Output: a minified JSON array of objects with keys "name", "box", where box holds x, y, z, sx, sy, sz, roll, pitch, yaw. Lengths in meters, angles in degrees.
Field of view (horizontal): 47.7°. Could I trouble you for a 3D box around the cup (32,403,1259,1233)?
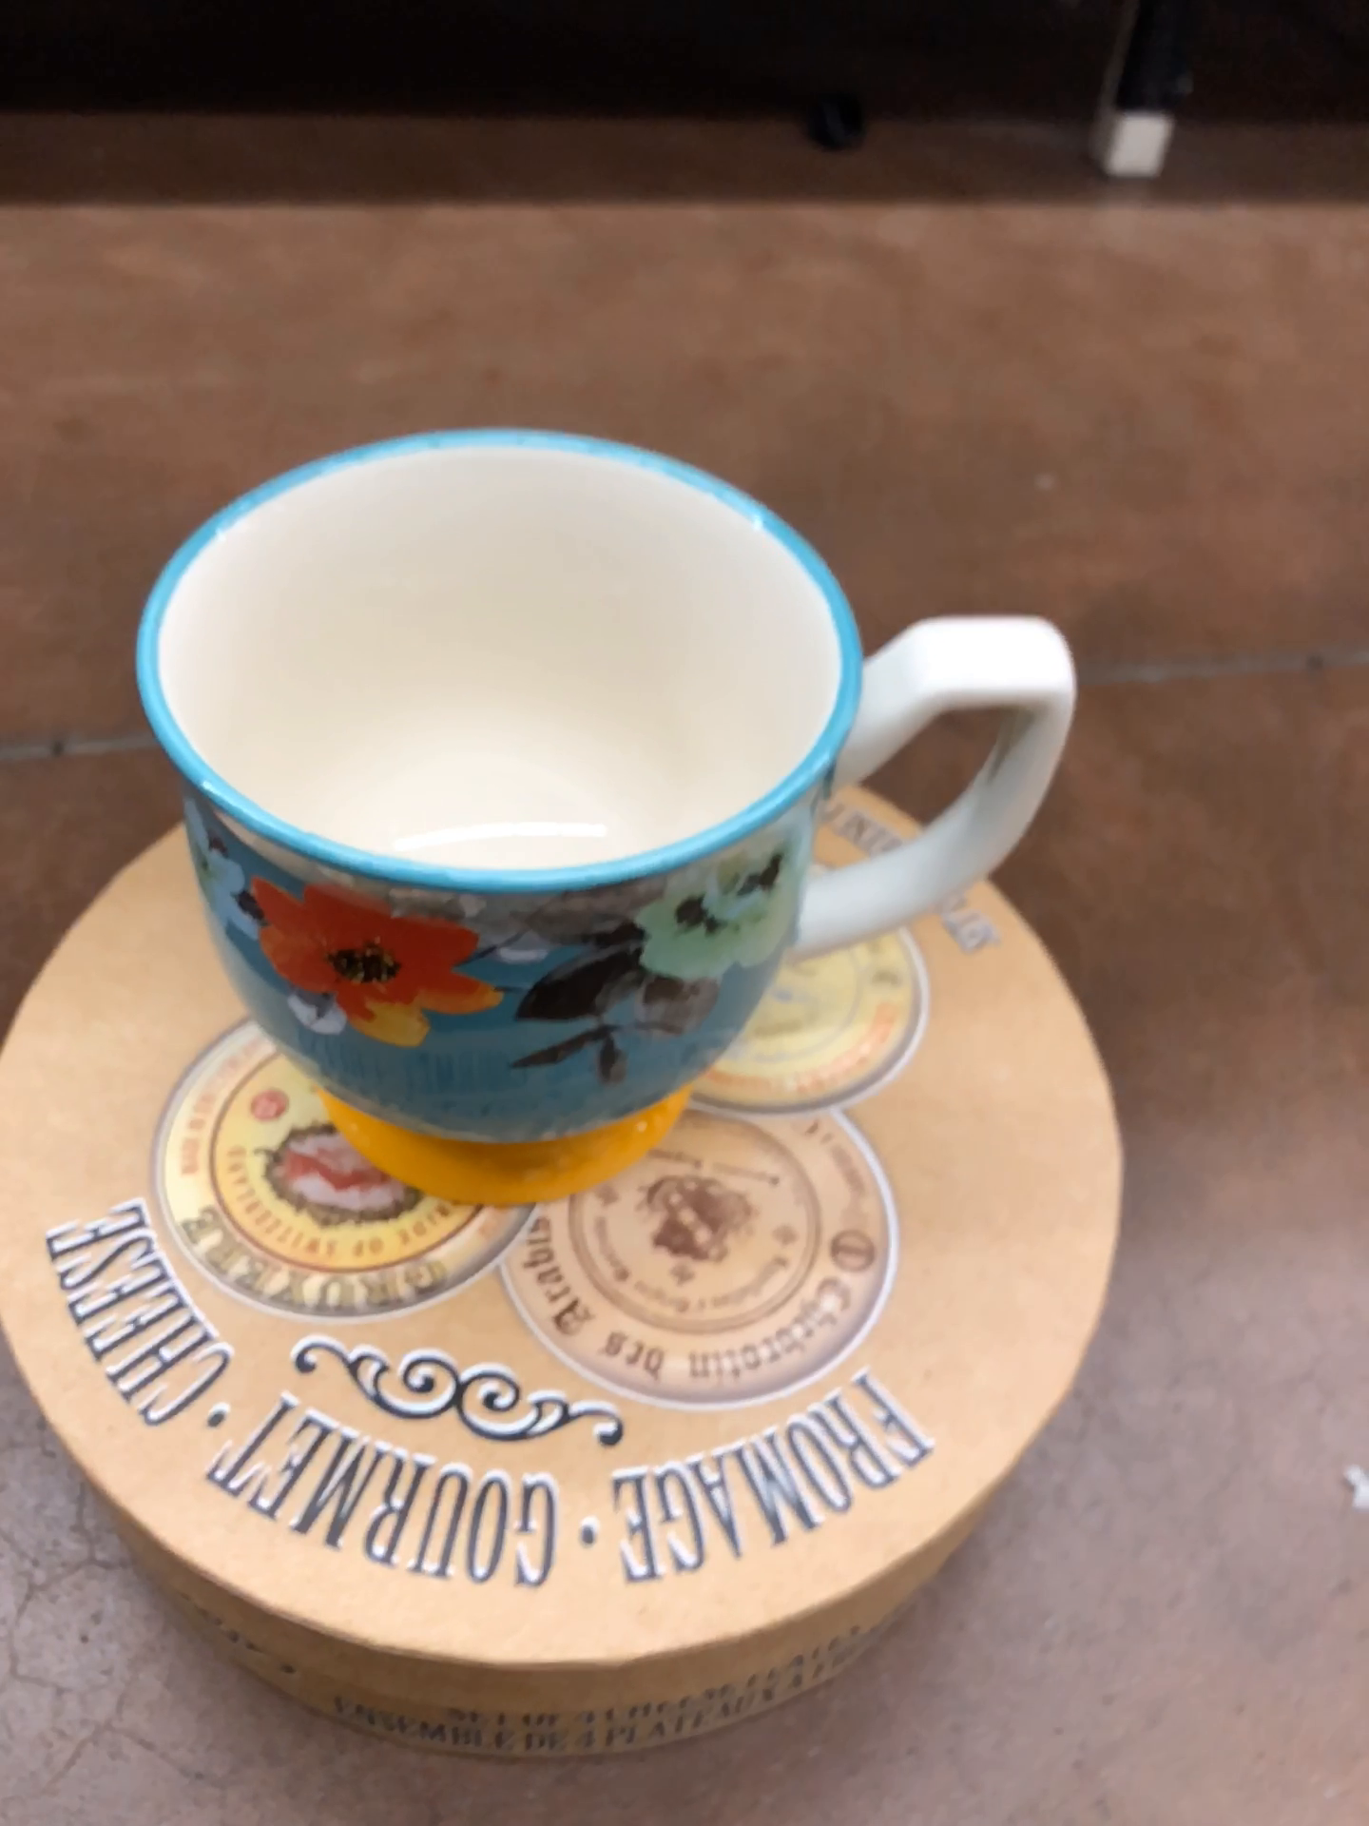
[{"name":"cup","box":[-0.009,-0.017,0.234,0.140,0.080,0.090,-3,47,-8]}]
